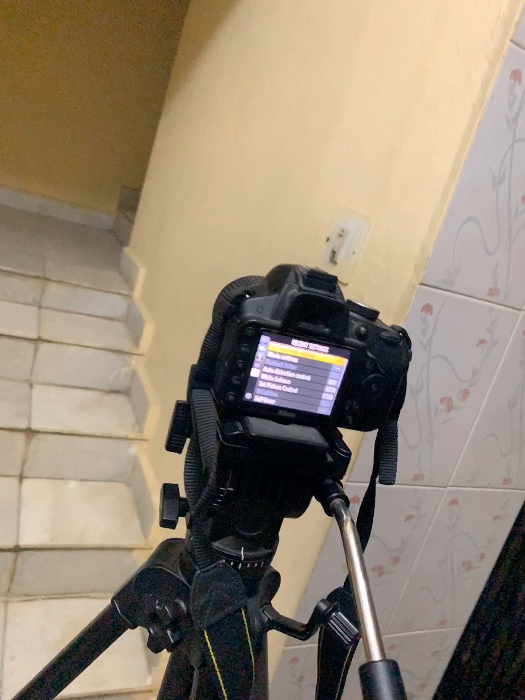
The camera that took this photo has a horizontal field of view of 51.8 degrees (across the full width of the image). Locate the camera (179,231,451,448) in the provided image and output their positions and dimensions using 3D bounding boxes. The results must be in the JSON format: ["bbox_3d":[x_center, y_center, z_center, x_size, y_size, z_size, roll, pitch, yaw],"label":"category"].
[{"bbox_3d":[0.024,-0.013,0.378,0.134,0.090,0.130,13,15,-18],"label":"camera"}]
